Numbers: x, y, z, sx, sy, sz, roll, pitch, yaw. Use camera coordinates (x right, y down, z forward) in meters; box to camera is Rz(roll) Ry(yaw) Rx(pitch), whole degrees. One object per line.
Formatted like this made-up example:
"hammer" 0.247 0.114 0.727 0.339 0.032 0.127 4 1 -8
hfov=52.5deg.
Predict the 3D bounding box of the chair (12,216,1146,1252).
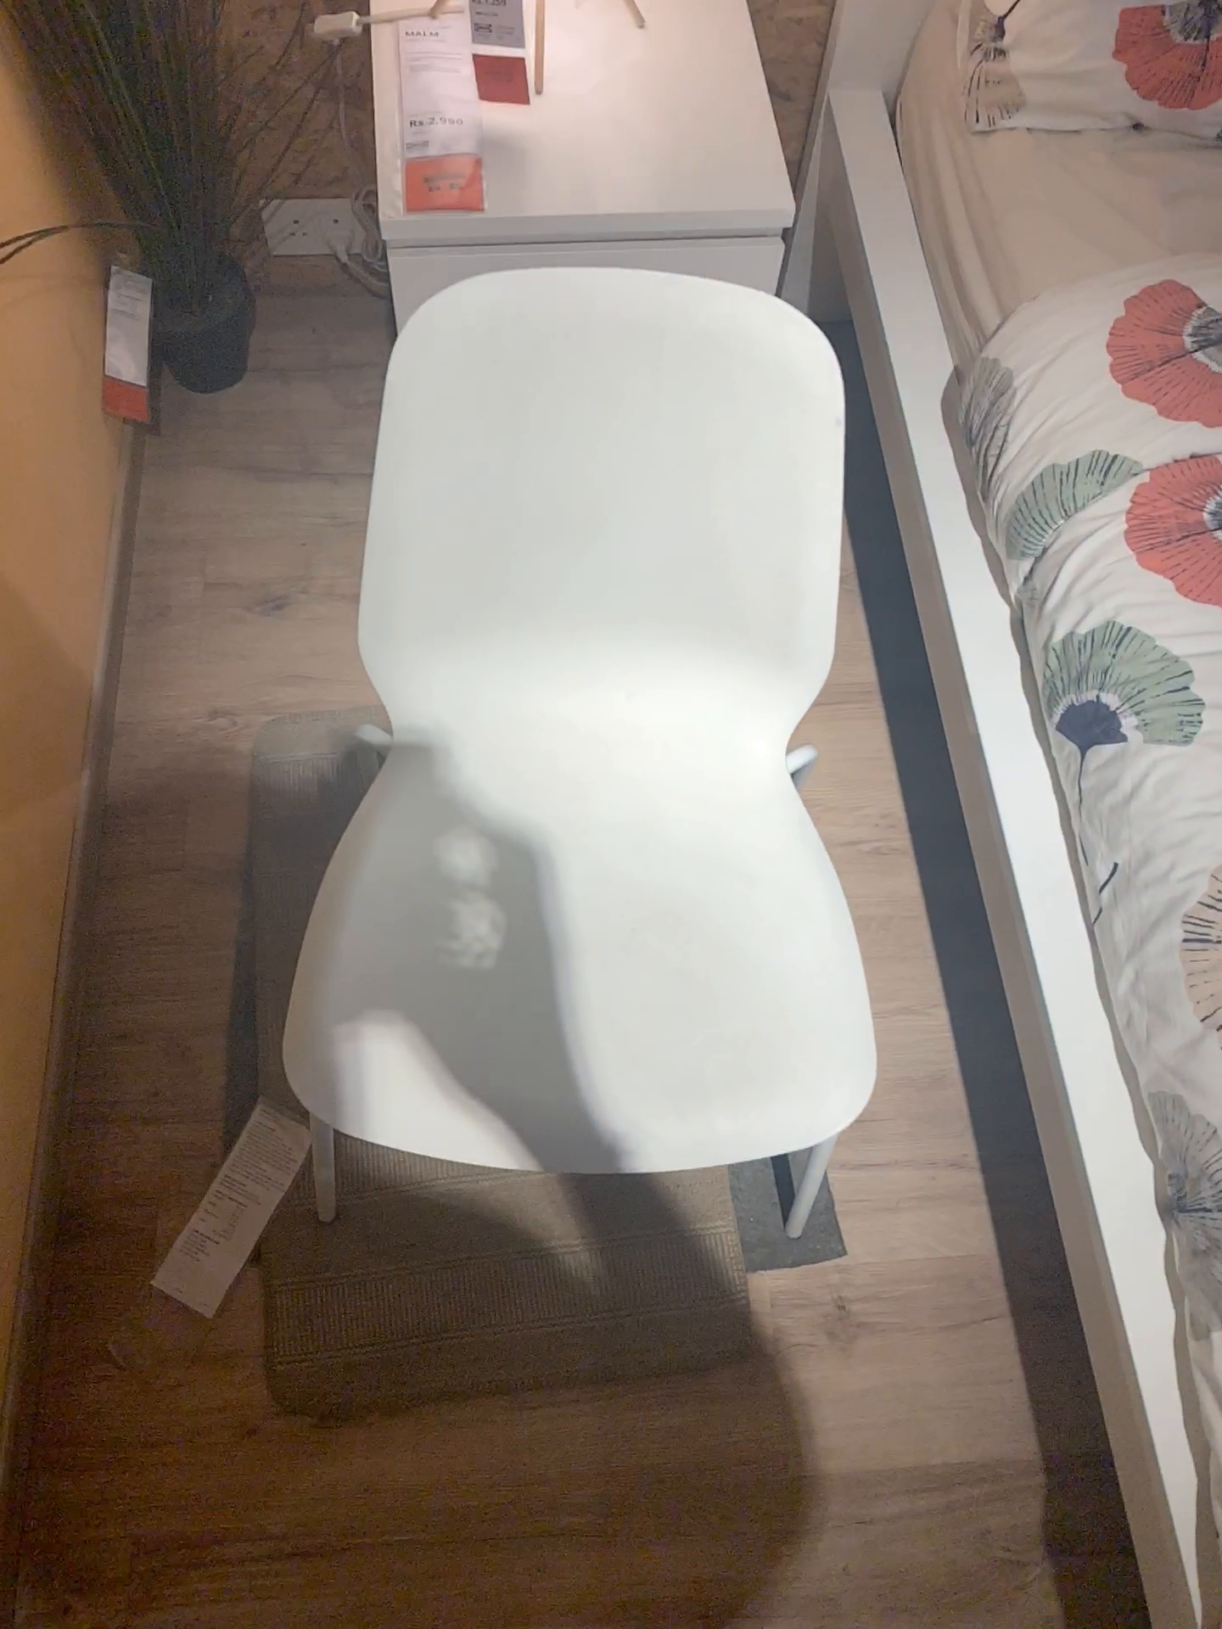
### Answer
"chair" -0.025 0.028 1.054 0.540 0.759 0.561 2 64 -2
